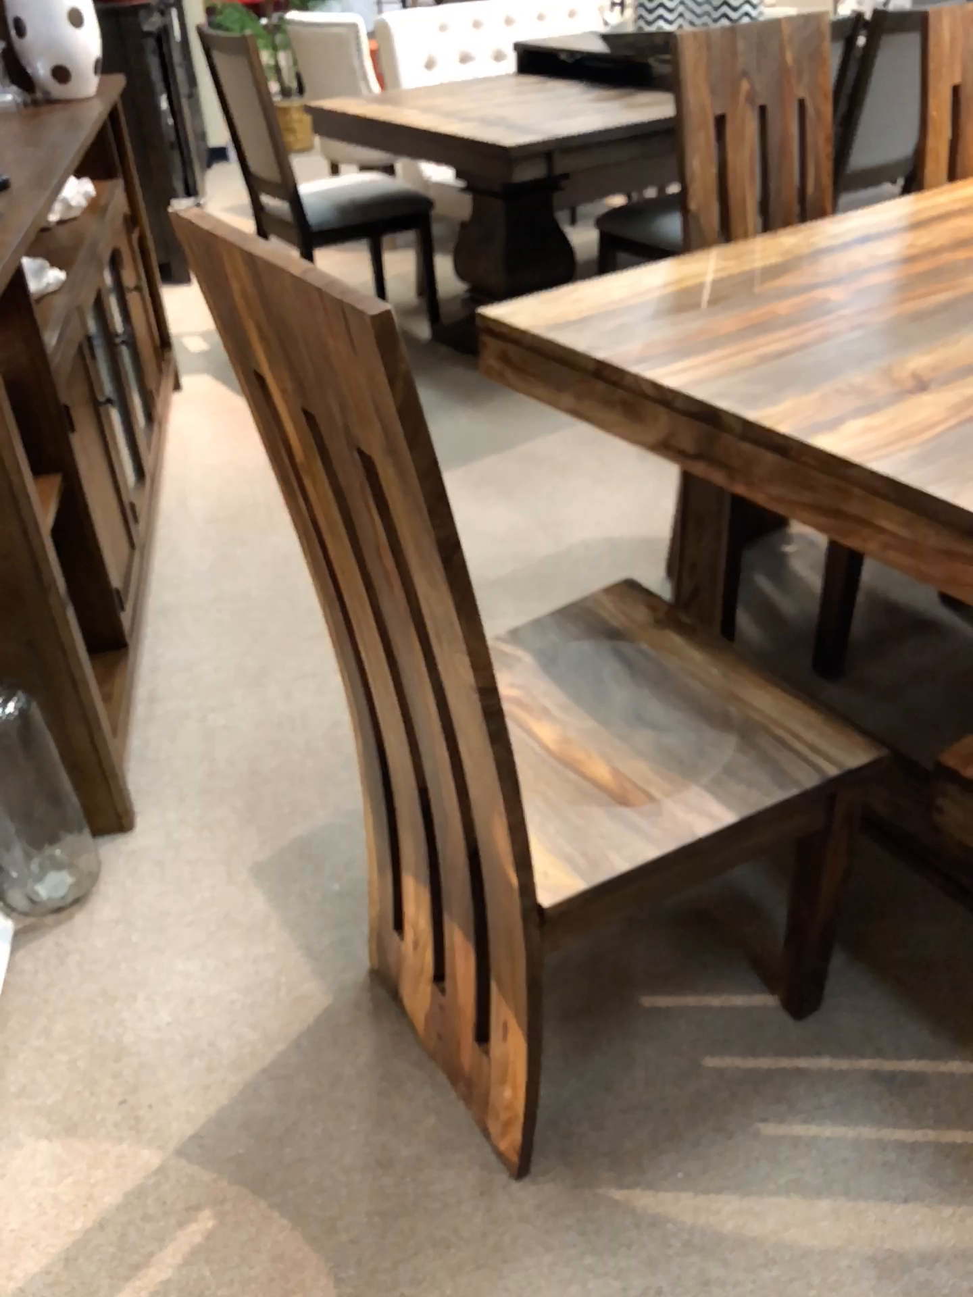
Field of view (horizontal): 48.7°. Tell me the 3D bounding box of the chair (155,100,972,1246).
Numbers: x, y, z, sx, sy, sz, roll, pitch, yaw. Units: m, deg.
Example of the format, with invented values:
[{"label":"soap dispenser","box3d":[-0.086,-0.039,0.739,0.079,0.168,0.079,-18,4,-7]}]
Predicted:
[{"label":"chair","box3d":[0.108,0.020,1.201,0.591,1.023,0.513,-21,39,-25]}]
